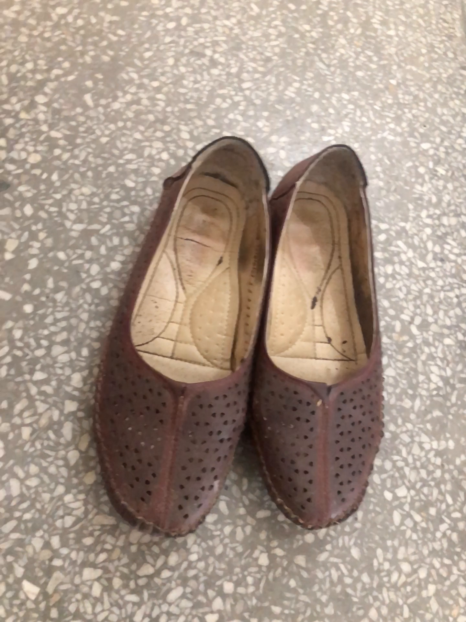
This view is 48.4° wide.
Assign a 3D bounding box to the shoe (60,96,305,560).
[{"bbox_3d":[-0.023,0.006,0.302,0.087,0.080,0.236,12,68,-10],"label":"shoe"}]

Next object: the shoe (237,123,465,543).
[{"bbox_3d":[0.059,0.013,0.319,0.095,0.080,0.231,5,69,-12],"label":"shoe"}]
